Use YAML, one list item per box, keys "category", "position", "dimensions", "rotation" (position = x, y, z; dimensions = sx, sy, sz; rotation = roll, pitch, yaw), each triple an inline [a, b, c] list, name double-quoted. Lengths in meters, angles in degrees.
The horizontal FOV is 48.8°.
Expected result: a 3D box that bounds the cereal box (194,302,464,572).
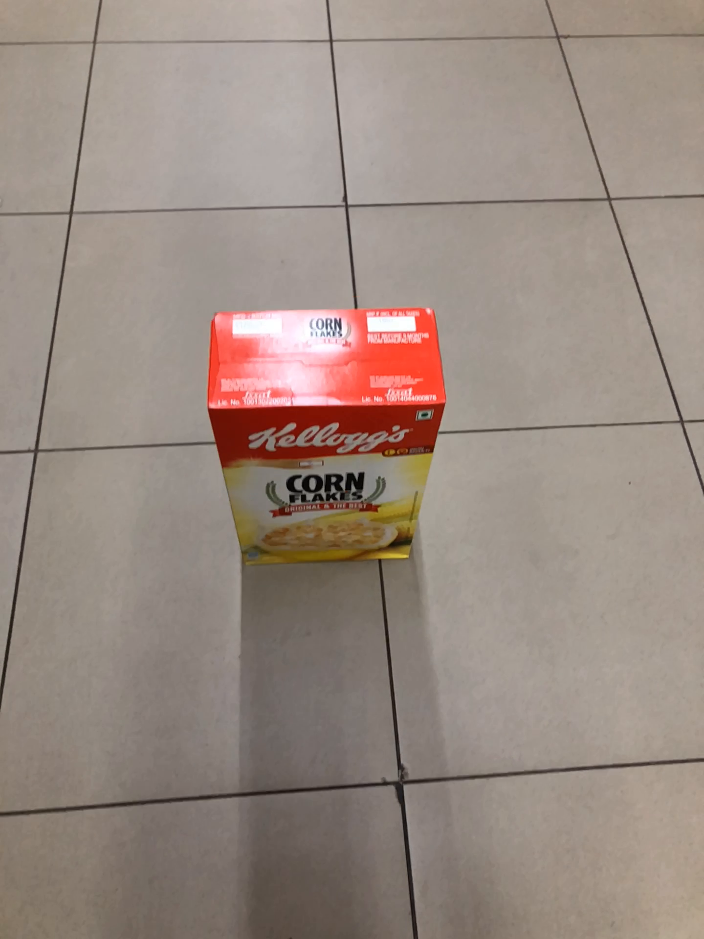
- category: "cereal box"
  position: [-0.025, -0.012, 0.739]
  dimensions: [0.200, 0.319, 0.100]
  rotation: [-2, 61, -4]
